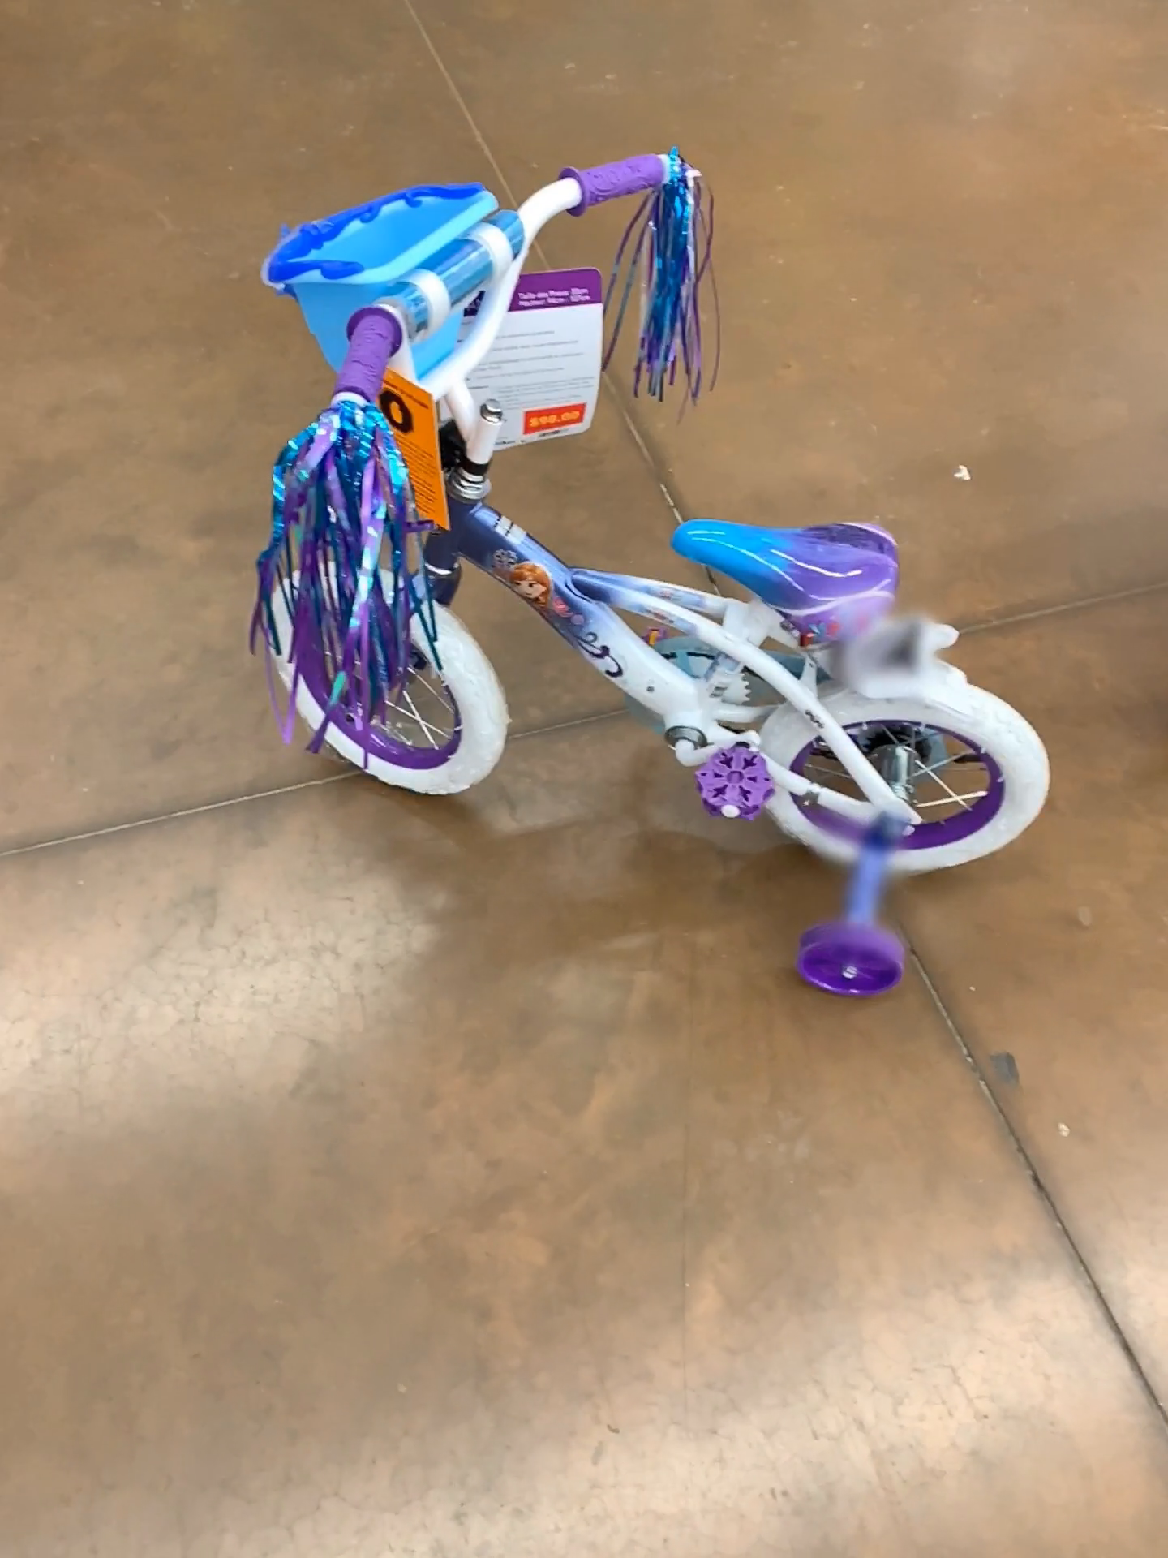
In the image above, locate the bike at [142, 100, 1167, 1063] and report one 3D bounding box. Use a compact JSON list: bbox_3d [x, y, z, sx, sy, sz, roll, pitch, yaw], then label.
[{"bbox_3d":[0.126,-0.132,1.060,0.651,0.643,0.474,8,54,4],"label":"bike"}]
